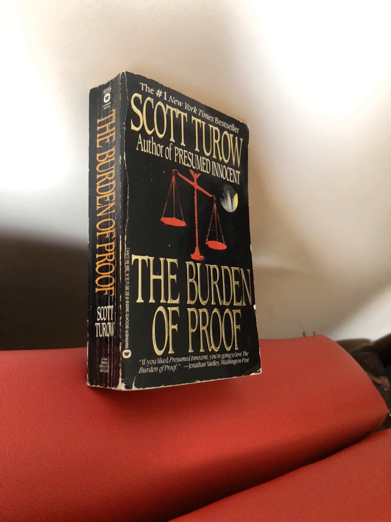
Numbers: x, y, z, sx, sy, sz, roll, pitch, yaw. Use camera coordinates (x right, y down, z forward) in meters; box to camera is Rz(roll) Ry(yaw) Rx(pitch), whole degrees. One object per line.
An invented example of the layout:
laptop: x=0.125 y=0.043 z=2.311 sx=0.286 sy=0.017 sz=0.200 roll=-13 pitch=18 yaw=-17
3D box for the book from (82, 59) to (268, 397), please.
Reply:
book: x=-0.010 y=-0.014 z=0.268 sx=0.106 sy=0.045 sz=0.171 roll=8 pitch=77 yaw=-45
